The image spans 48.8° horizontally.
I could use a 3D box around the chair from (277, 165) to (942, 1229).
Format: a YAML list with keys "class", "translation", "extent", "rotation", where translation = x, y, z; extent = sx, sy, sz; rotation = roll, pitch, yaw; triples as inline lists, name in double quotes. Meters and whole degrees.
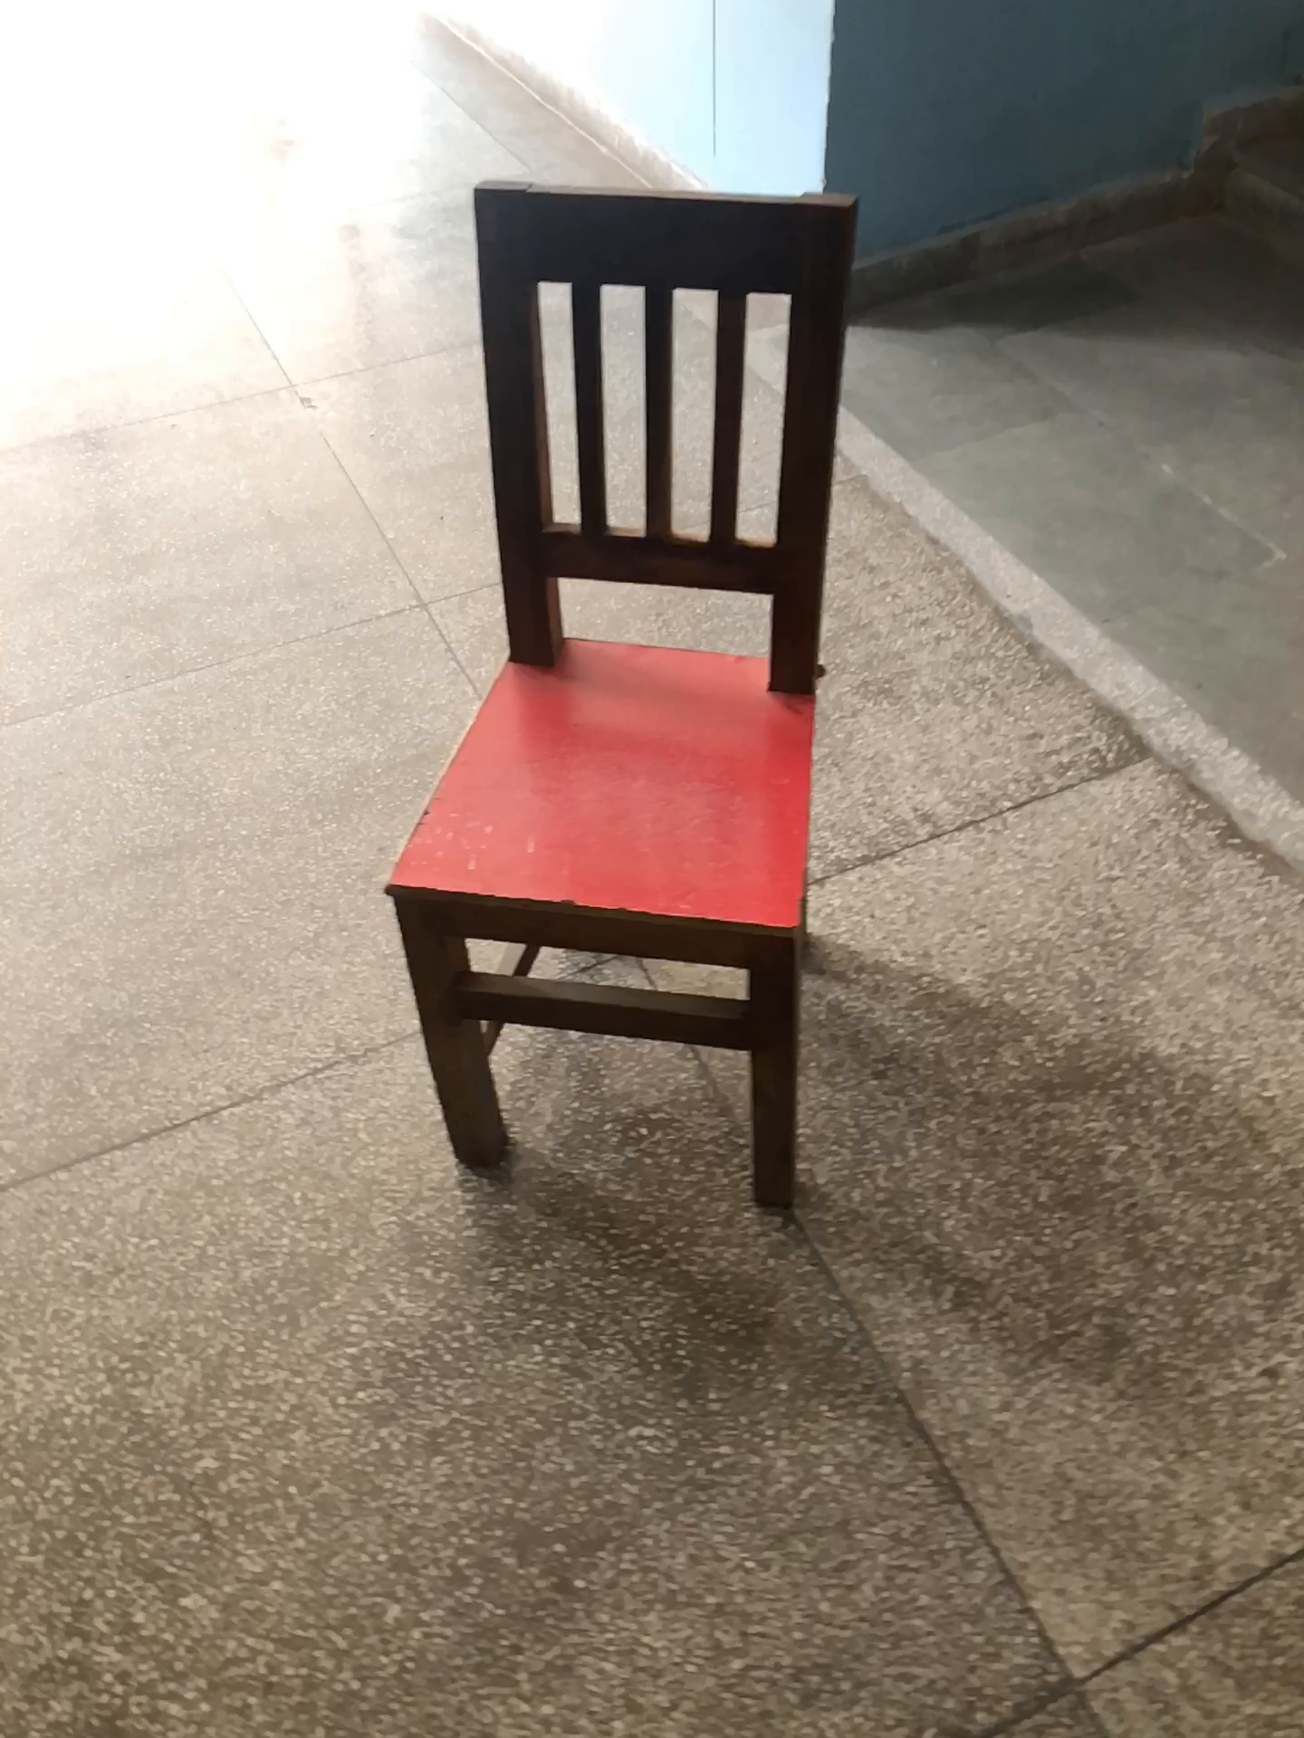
- class: "chair"
  translation: [0.004, -0.121, 1.323]
  extent: [0.400, 0.817, 0.482]
  rotation: [6, 46, 6]
